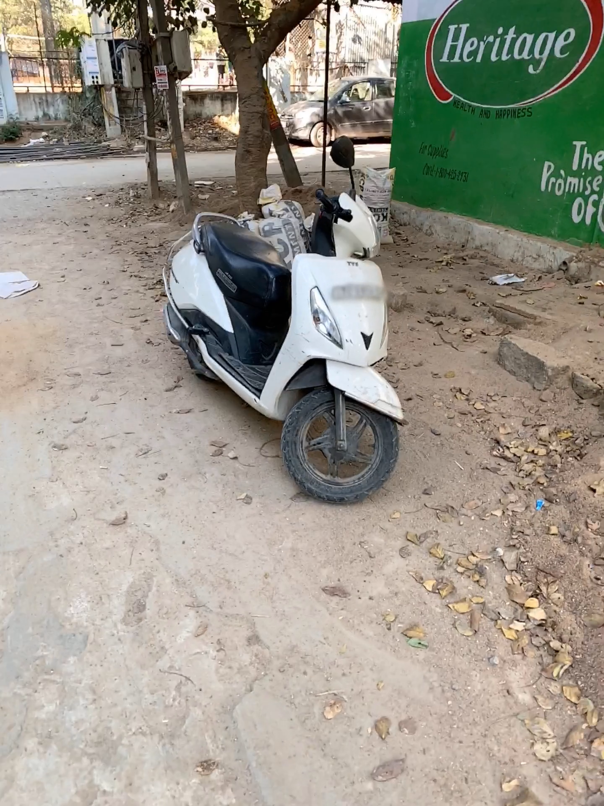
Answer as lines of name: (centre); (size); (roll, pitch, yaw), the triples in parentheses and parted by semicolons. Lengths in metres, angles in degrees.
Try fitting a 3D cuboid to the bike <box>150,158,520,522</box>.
bike: (0.038, -0.411, 2.733); (0.687, 1.066, 1.464); (-20, 35, -35)
